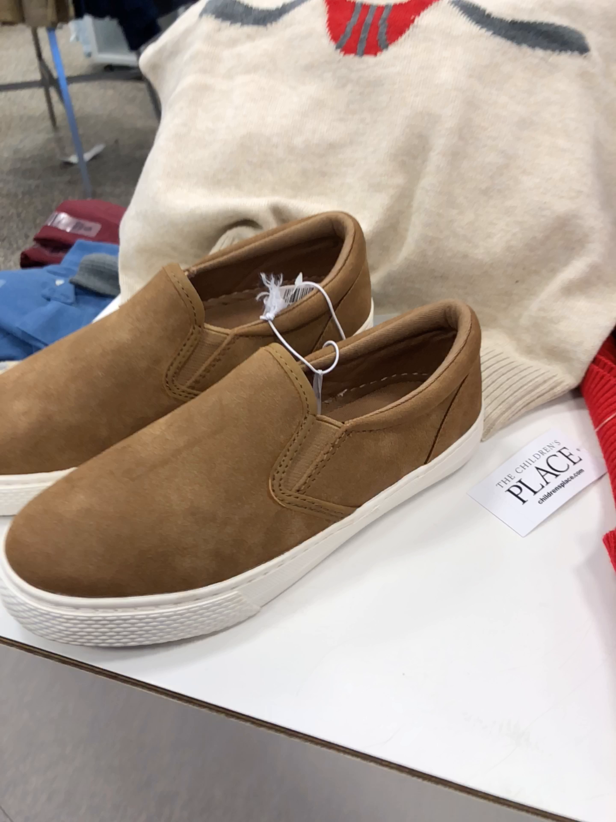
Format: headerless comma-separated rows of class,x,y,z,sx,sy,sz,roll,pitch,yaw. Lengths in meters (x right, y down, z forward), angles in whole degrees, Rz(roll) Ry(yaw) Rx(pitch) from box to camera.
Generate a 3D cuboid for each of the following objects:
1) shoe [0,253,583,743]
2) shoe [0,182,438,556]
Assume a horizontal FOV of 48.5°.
shoe,-0.008,0.018,0.289,0.230,0.080,0.093,-23,46,-25
shoe,-0.063,-0.033,0.328,0.230,0.080,0.093,-19,44,-21
